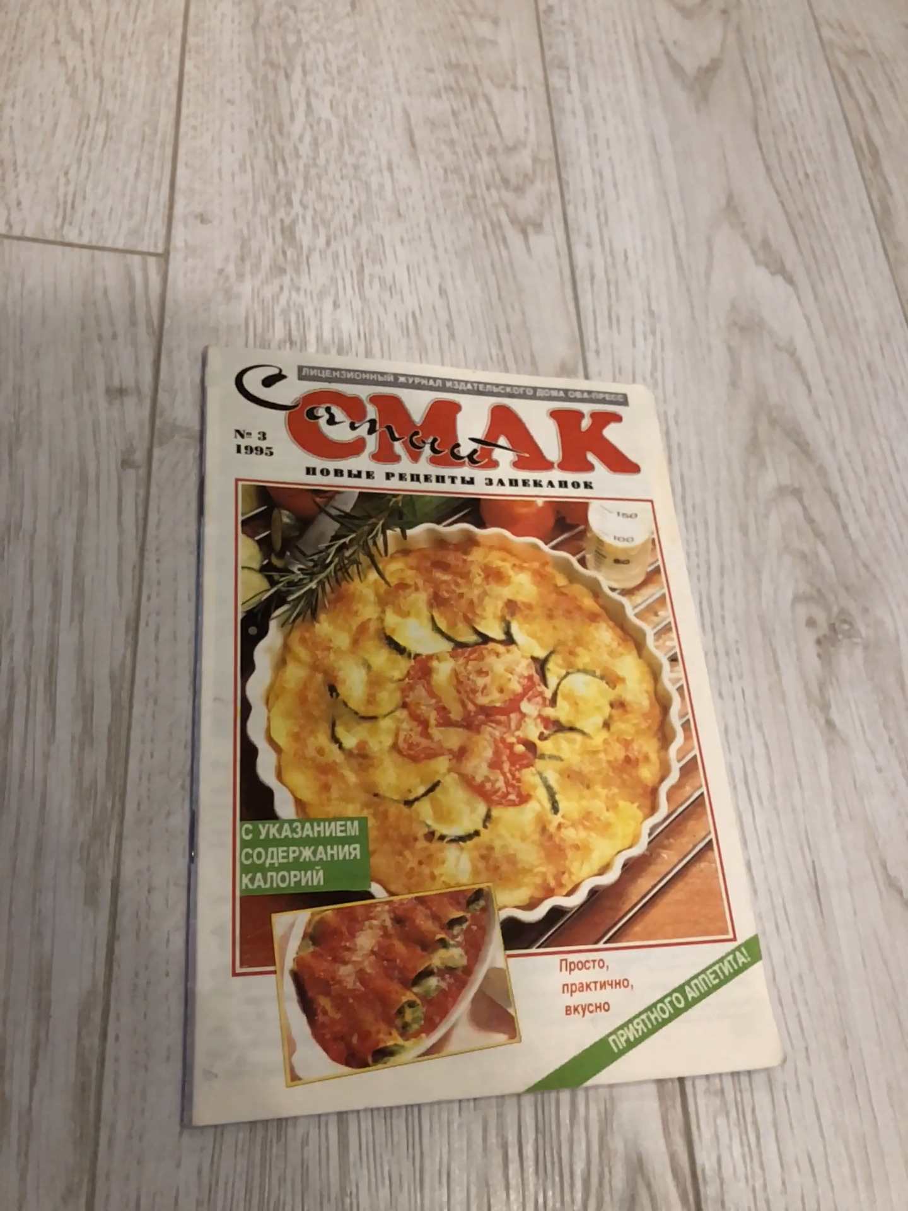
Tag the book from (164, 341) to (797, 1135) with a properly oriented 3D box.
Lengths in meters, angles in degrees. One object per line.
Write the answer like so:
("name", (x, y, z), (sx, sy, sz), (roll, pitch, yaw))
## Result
("book", (0.002, 0.024, 0.309), (0.165, 0.020, 0.230), (2, 65, -14))
